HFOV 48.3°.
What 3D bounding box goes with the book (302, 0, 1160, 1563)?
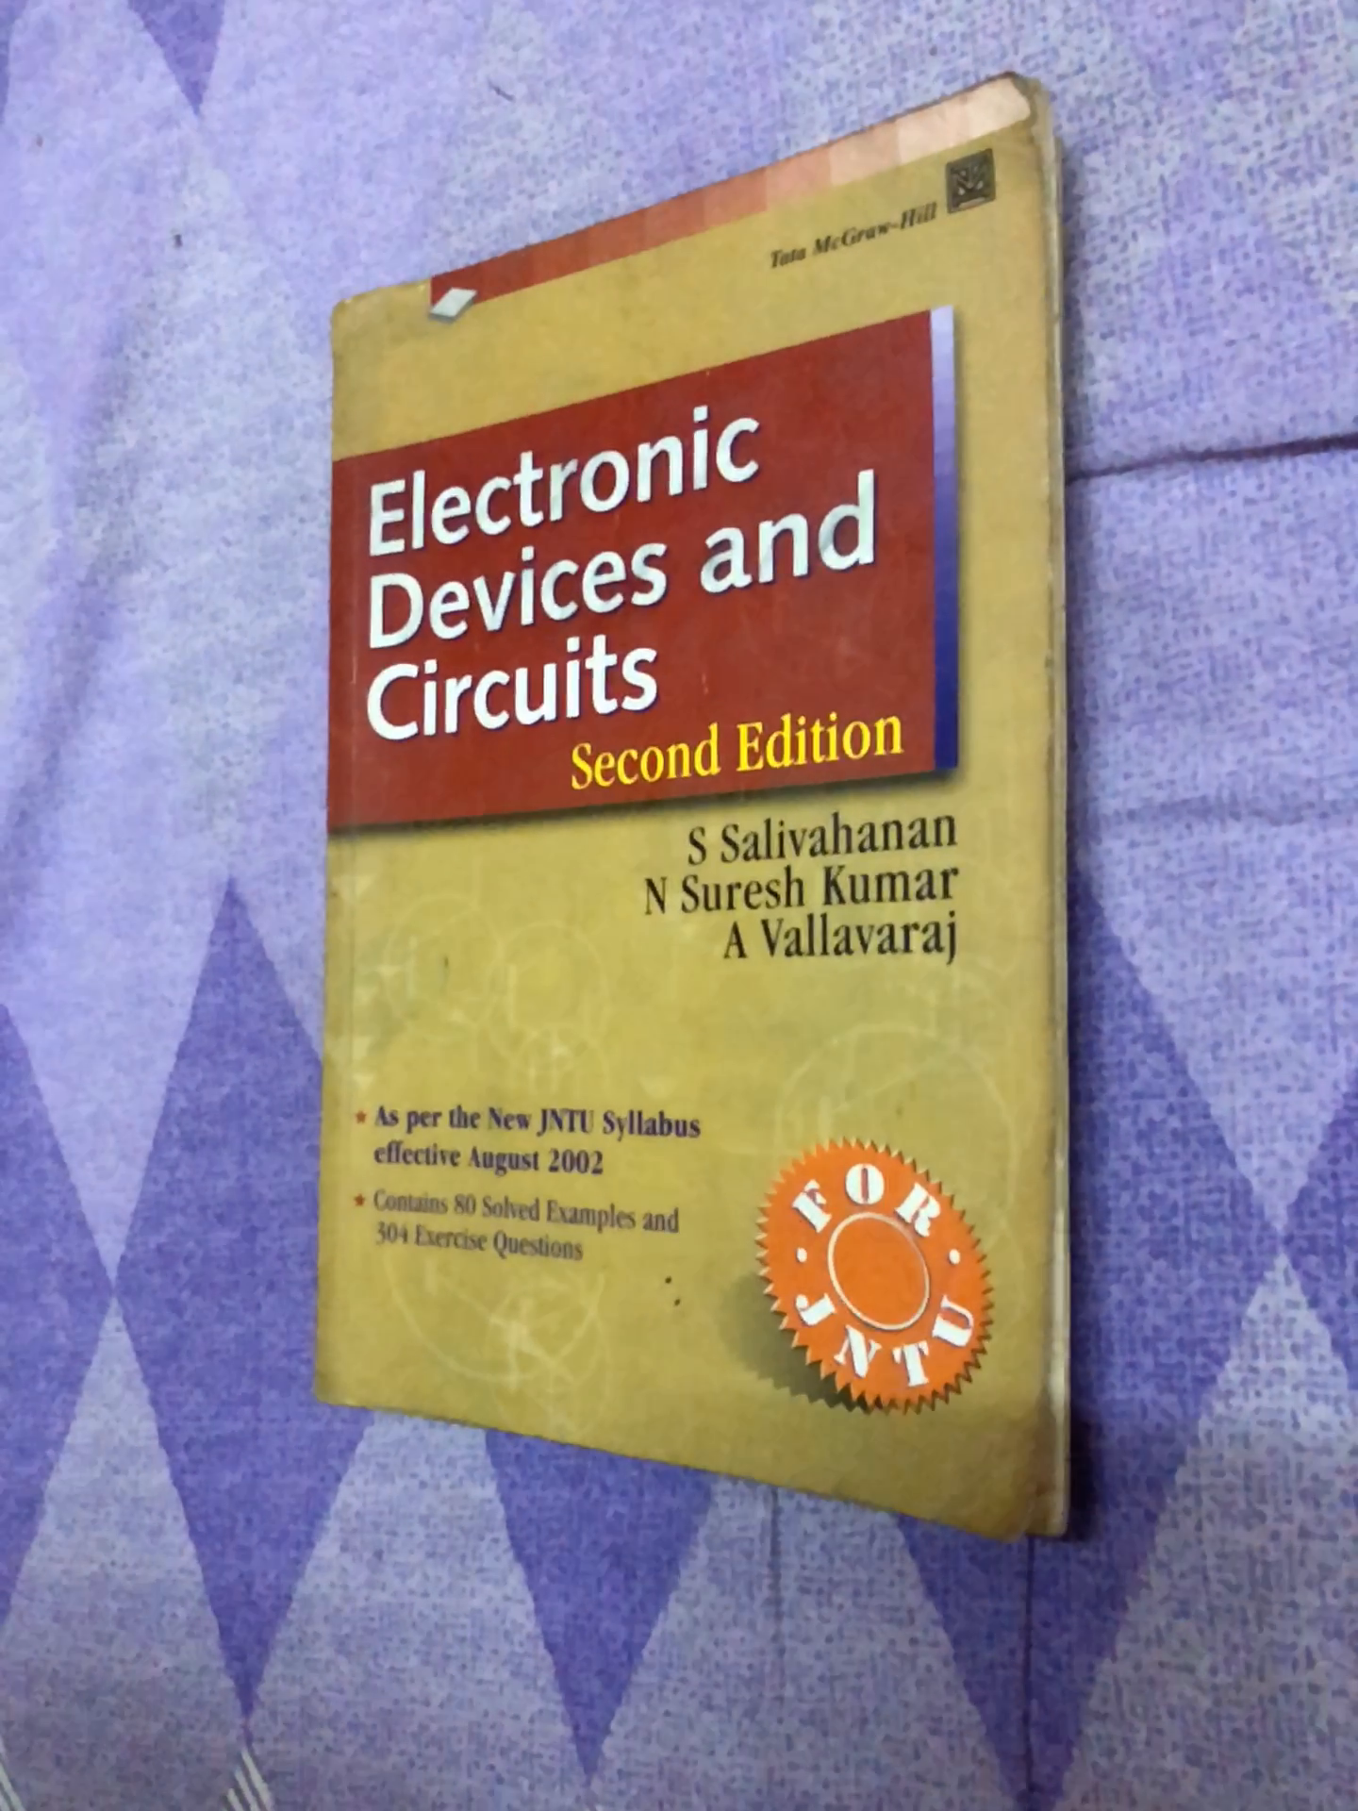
[{"bbox_3d":[0.001,-0.019,0.289,0.160,0.040,0.240,-3,85,32],"label":"book"}]
